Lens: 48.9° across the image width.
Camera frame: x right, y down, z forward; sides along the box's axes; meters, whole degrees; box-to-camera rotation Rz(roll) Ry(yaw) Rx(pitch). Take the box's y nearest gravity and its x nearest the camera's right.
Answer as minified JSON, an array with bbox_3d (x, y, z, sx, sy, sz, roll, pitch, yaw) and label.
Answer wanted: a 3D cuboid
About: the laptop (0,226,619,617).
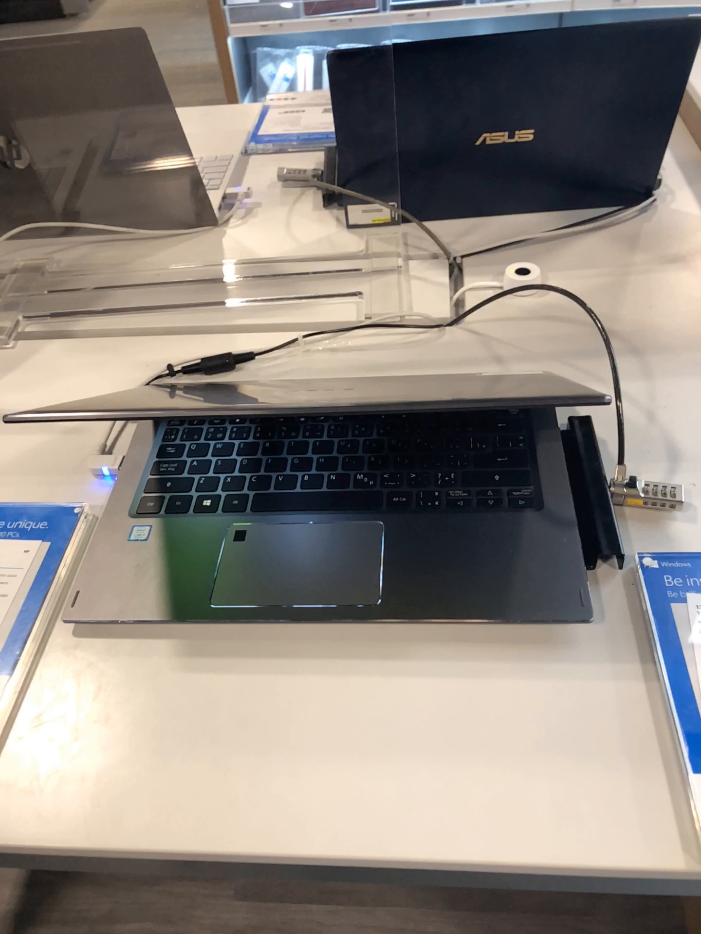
[{"bbox_3d":[-0.016,-0.032,0.478,0.301,0.123,0.212,-1,45,7],"label":"laptop"}]
